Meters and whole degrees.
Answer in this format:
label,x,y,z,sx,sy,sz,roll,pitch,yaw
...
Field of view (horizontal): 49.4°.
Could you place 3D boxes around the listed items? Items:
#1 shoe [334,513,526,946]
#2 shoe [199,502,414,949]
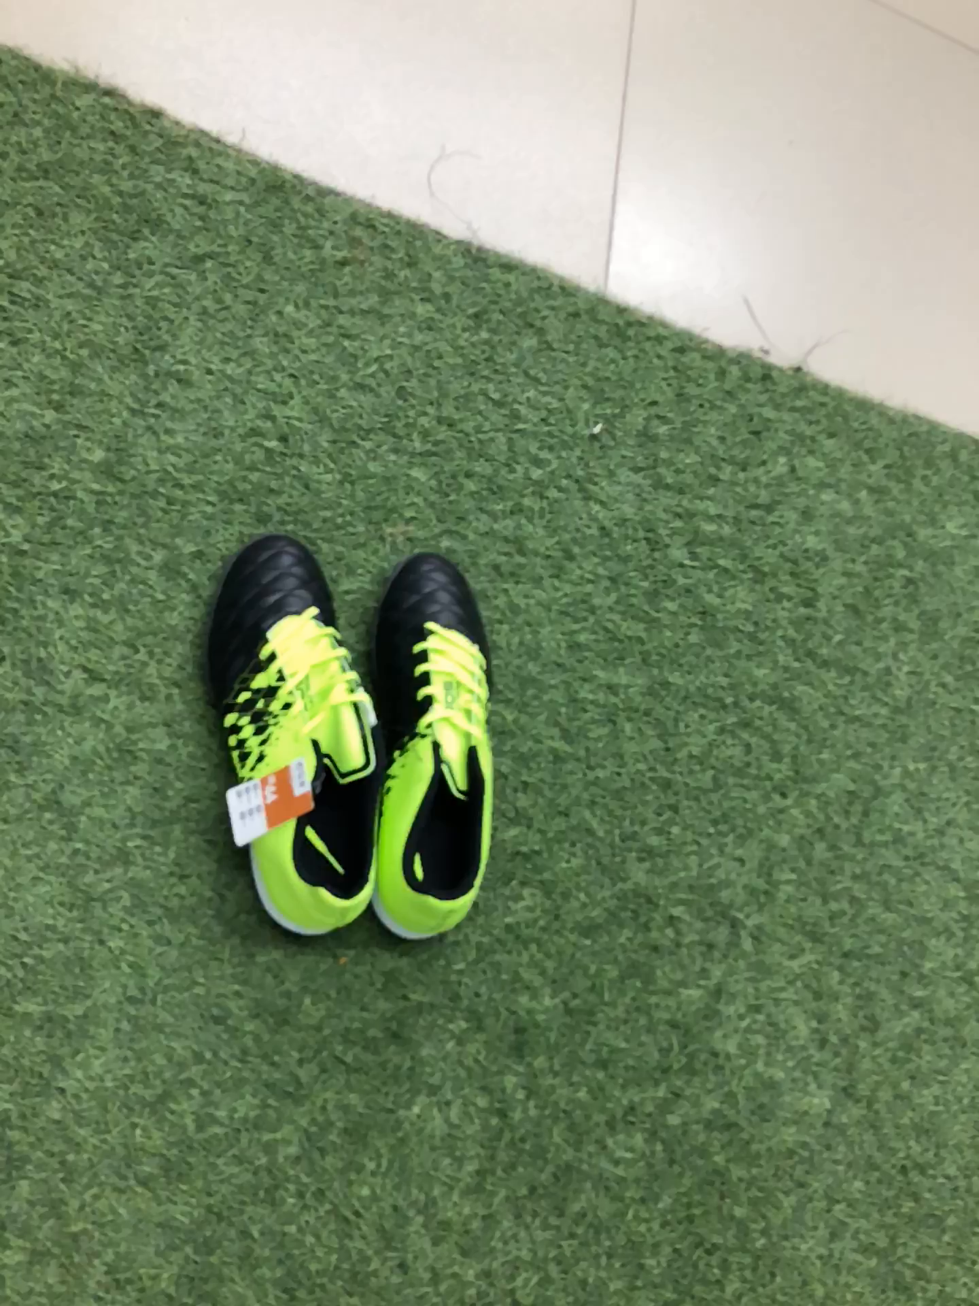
label,x,y,z,sx,sy,sz,roll,pitch,yaw
shoe,-0.040,0.056,0.746,0.100,0.090,0.281,8,70,-19
shoe,-0.129,0.047,0.719,0.100,0.090,0.280,-2,74,-23
